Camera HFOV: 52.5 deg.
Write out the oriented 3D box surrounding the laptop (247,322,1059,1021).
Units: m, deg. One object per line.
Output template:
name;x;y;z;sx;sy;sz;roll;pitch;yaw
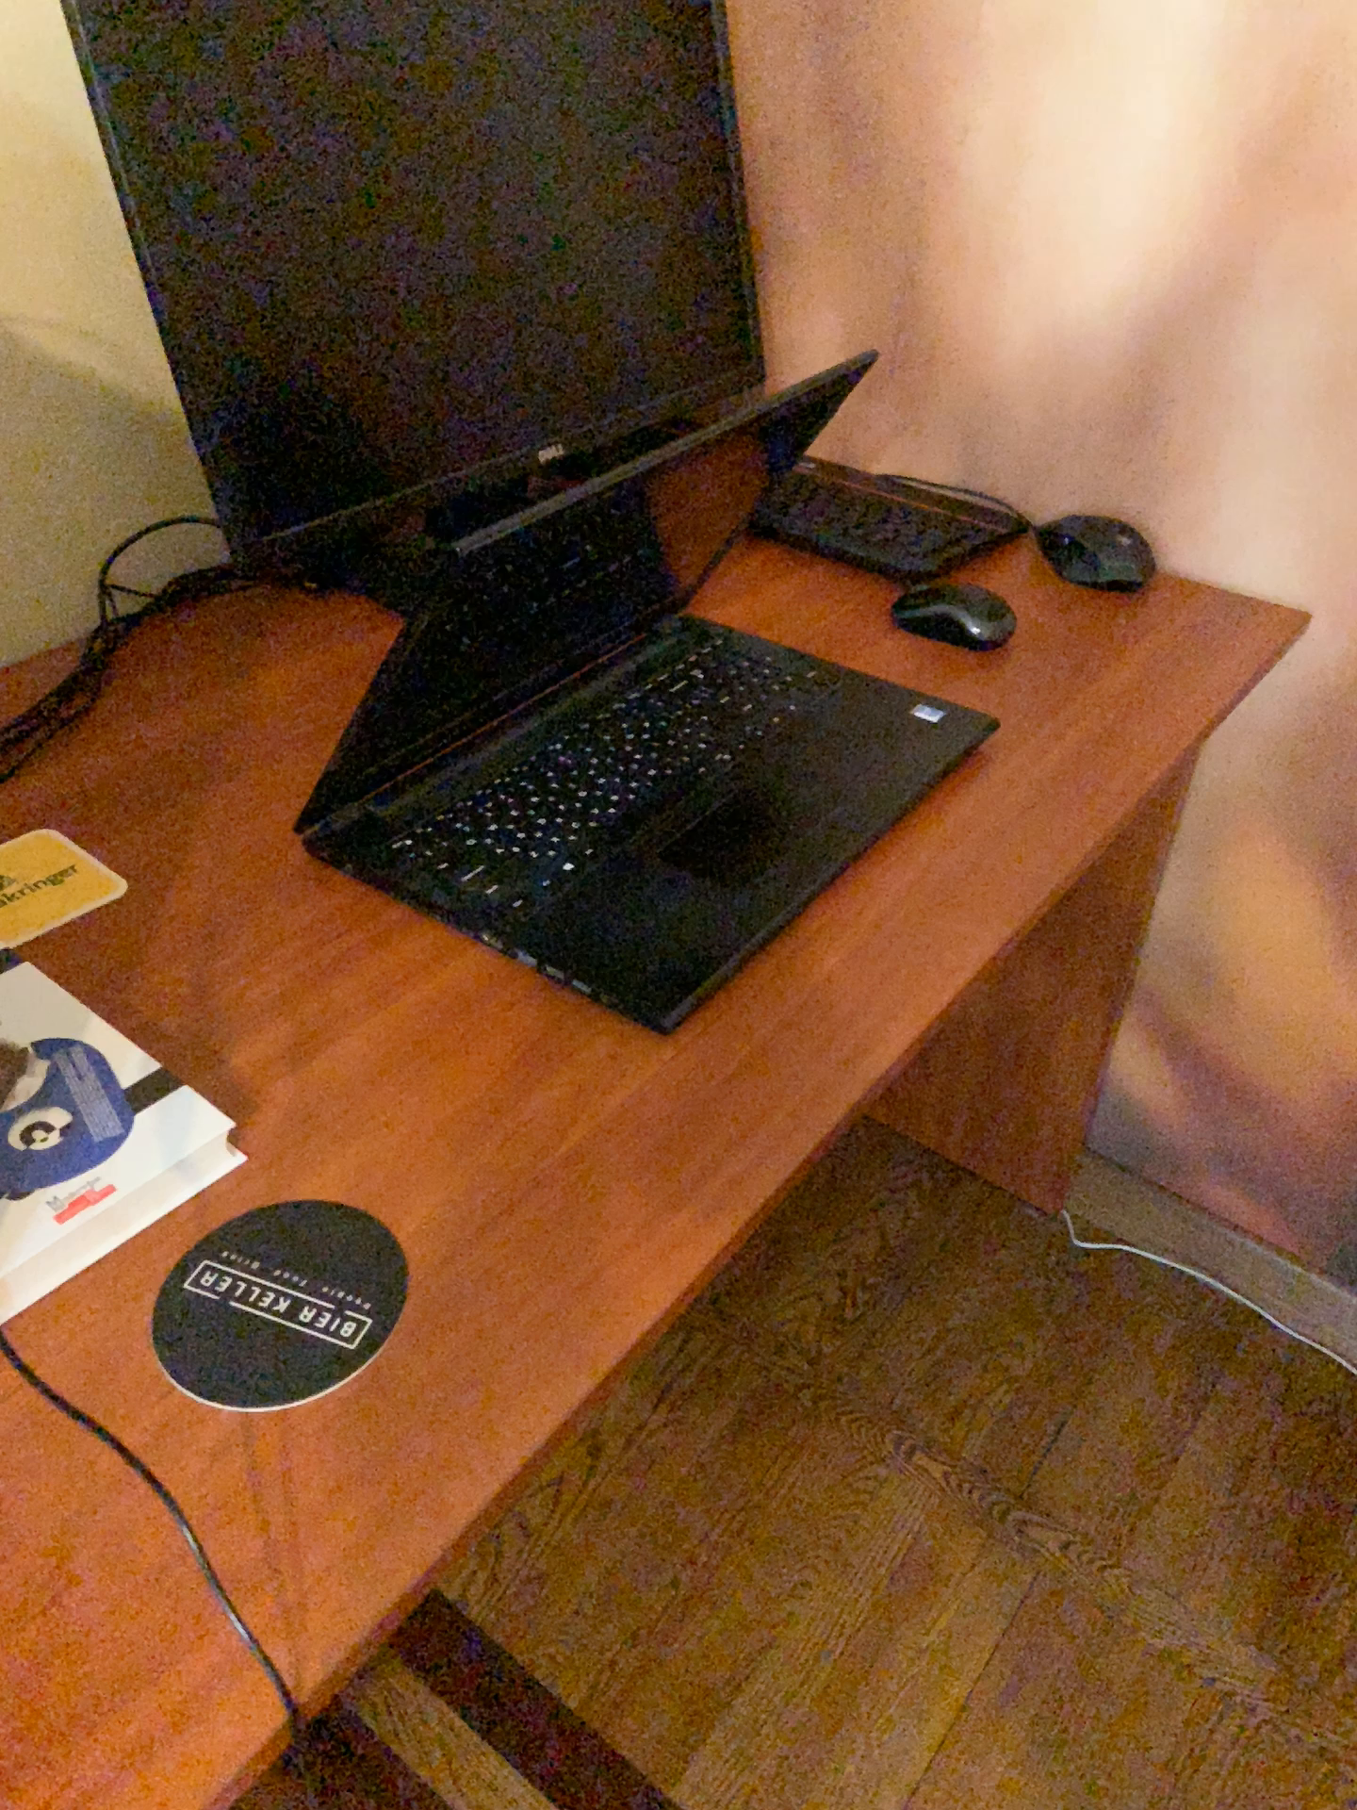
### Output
laptop;0.003;-0.164;0.788;0.254;0.212;0.374;24;42;27
